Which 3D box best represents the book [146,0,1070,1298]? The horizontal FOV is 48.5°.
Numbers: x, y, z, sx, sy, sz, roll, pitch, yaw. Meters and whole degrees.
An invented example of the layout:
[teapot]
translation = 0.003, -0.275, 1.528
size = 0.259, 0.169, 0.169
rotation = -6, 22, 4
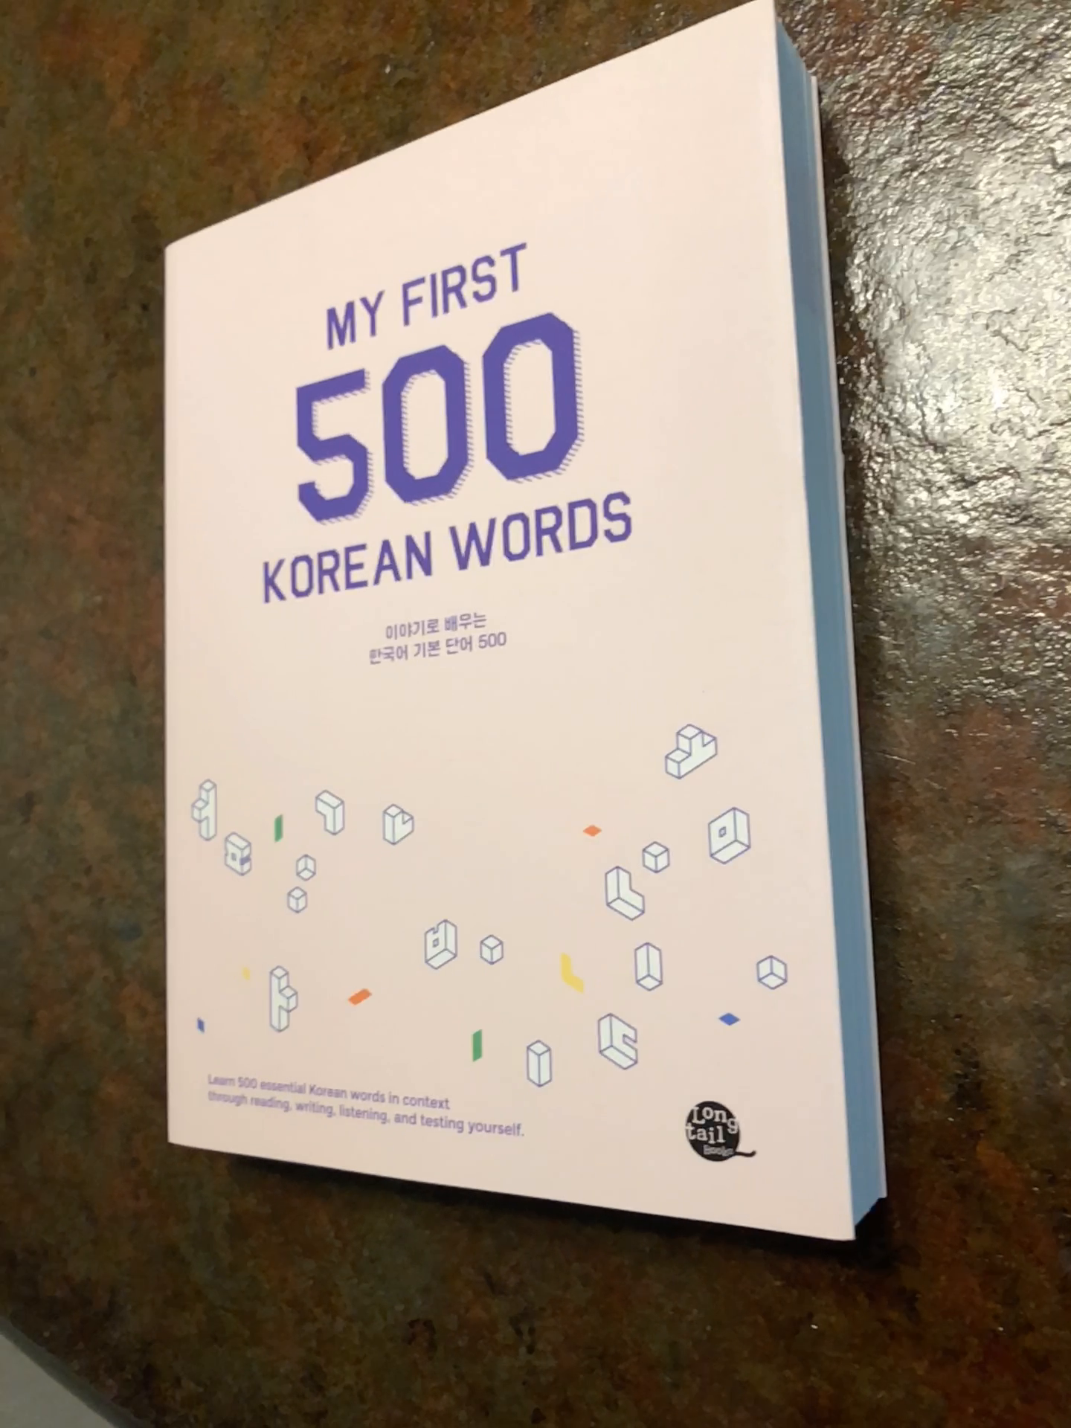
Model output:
[book]
translation = -0.002, -0.020, 0.249
size = 0.191, 0.030, 0.230
rotation = -5, 83, 30
